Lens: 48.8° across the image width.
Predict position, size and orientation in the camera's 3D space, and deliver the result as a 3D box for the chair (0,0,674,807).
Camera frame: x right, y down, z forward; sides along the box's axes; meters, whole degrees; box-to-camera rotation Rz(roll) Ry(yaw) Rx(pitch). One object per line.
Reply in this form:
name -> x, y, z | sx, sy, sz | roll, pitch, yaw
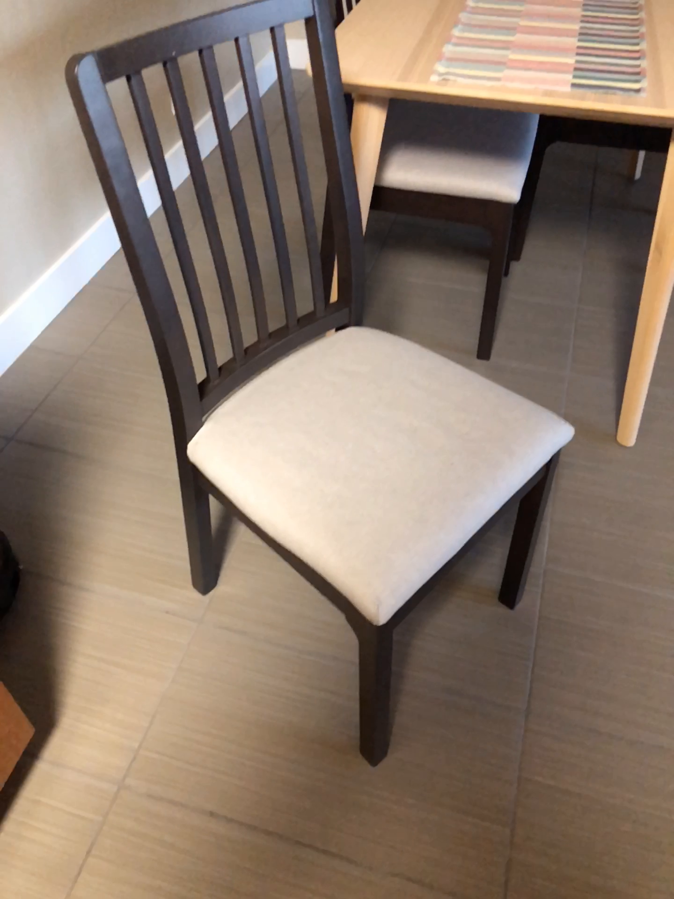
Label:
chair -> 0.039, -0.086, 1.045 | 0.591, 0.846, 0.581 | 33, 54, 29
